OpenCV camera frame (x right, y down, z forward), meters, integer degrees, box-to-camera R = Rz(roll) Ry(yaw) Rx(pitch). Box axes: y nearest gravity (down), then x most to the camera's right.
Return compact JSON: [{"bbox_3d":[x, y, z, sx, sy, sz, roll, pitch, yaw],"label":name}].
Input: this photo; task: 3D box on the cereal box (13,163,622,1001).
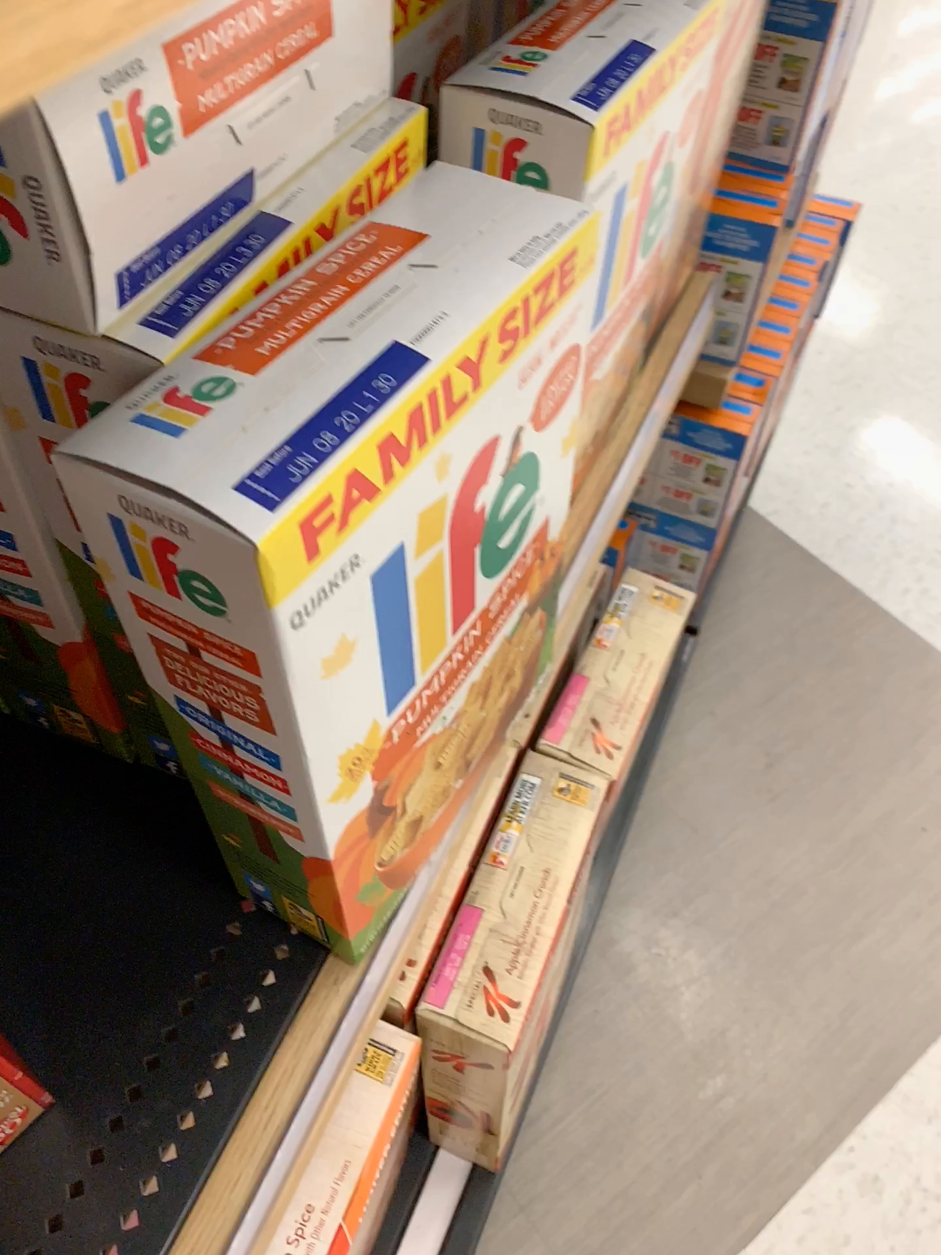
[{"bbox_3d":[-0.029,-0.007,0.373,0.070,0.249,0.201,24,53,20],"label":"cereal box"}]
